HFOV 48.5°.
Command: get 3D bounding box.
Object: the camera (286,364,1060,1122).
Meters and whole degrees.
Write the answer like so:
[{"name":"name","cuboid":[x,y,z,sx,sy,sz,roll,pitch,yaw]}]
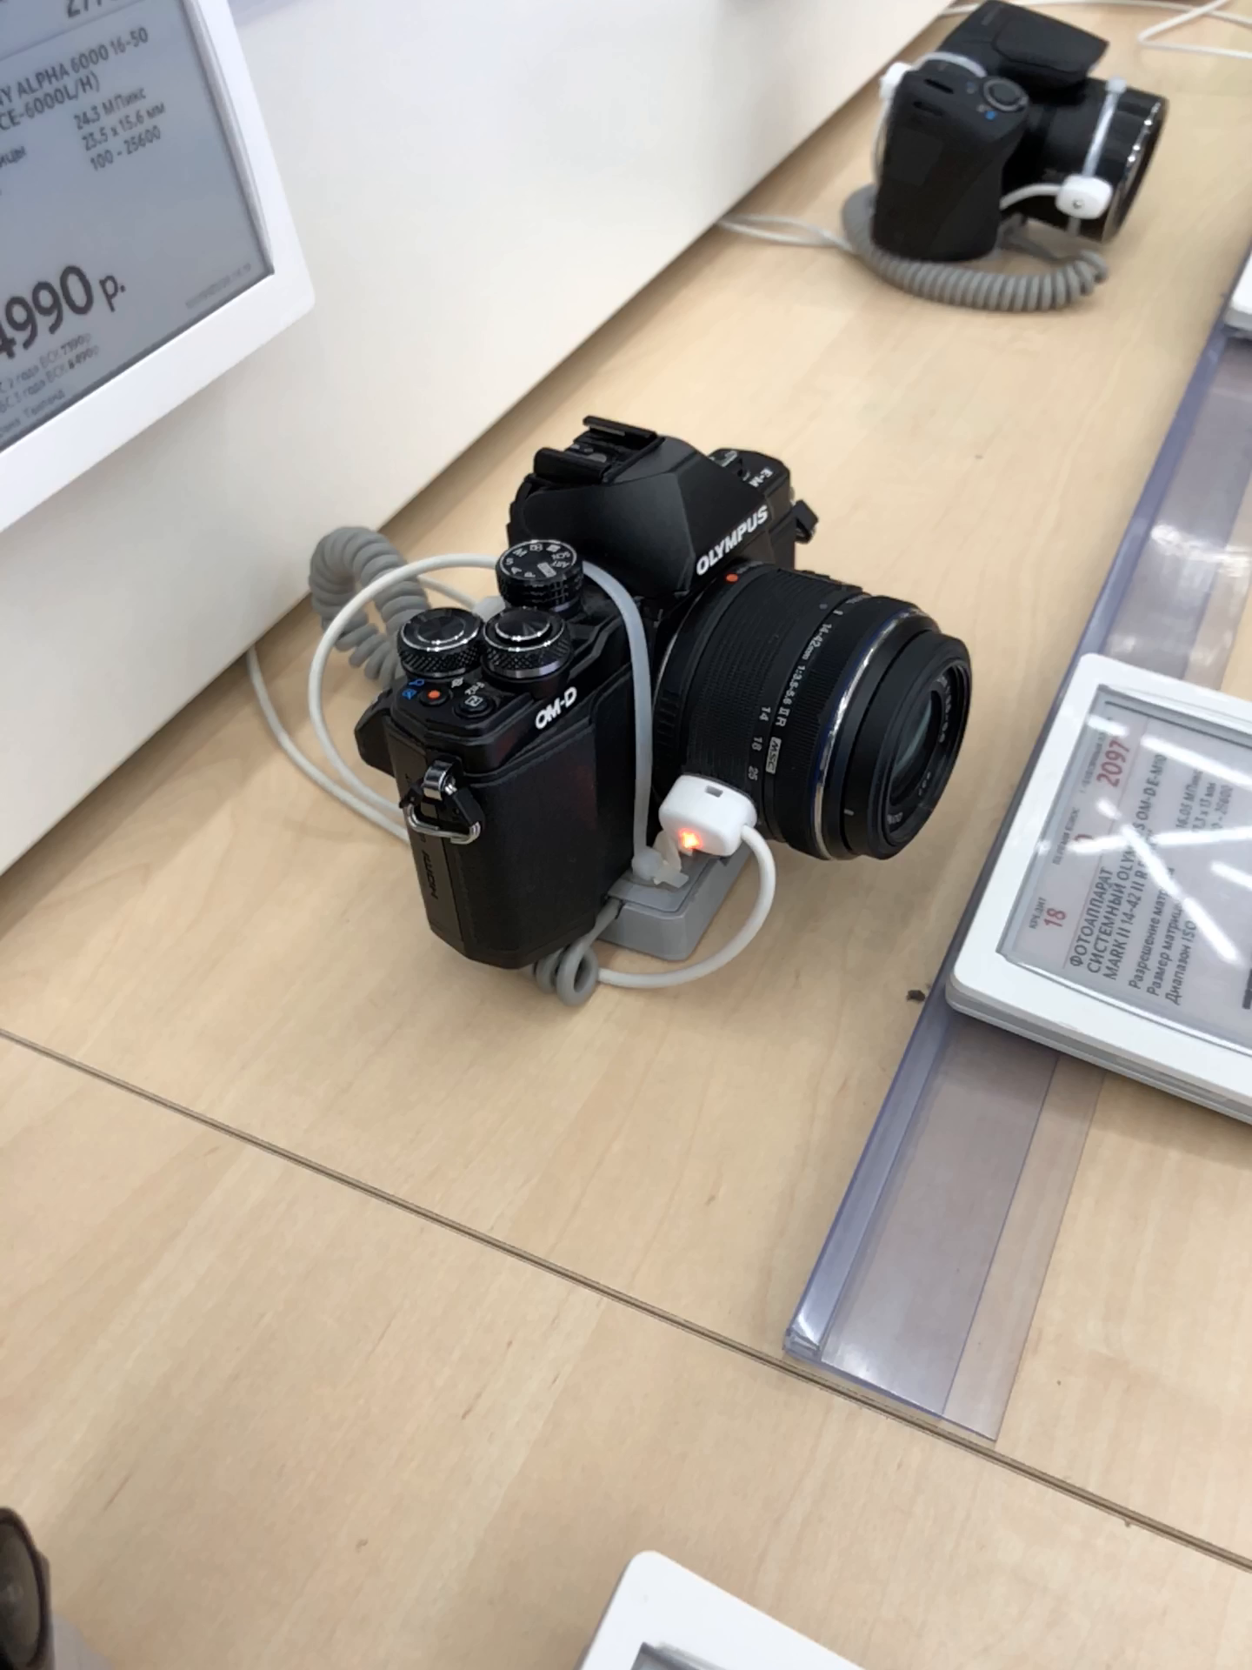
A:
[{"name":"camera","cuboid":[0.015,-0.026,0.283,0.100,0.079,0.112,20,50,26]}]
